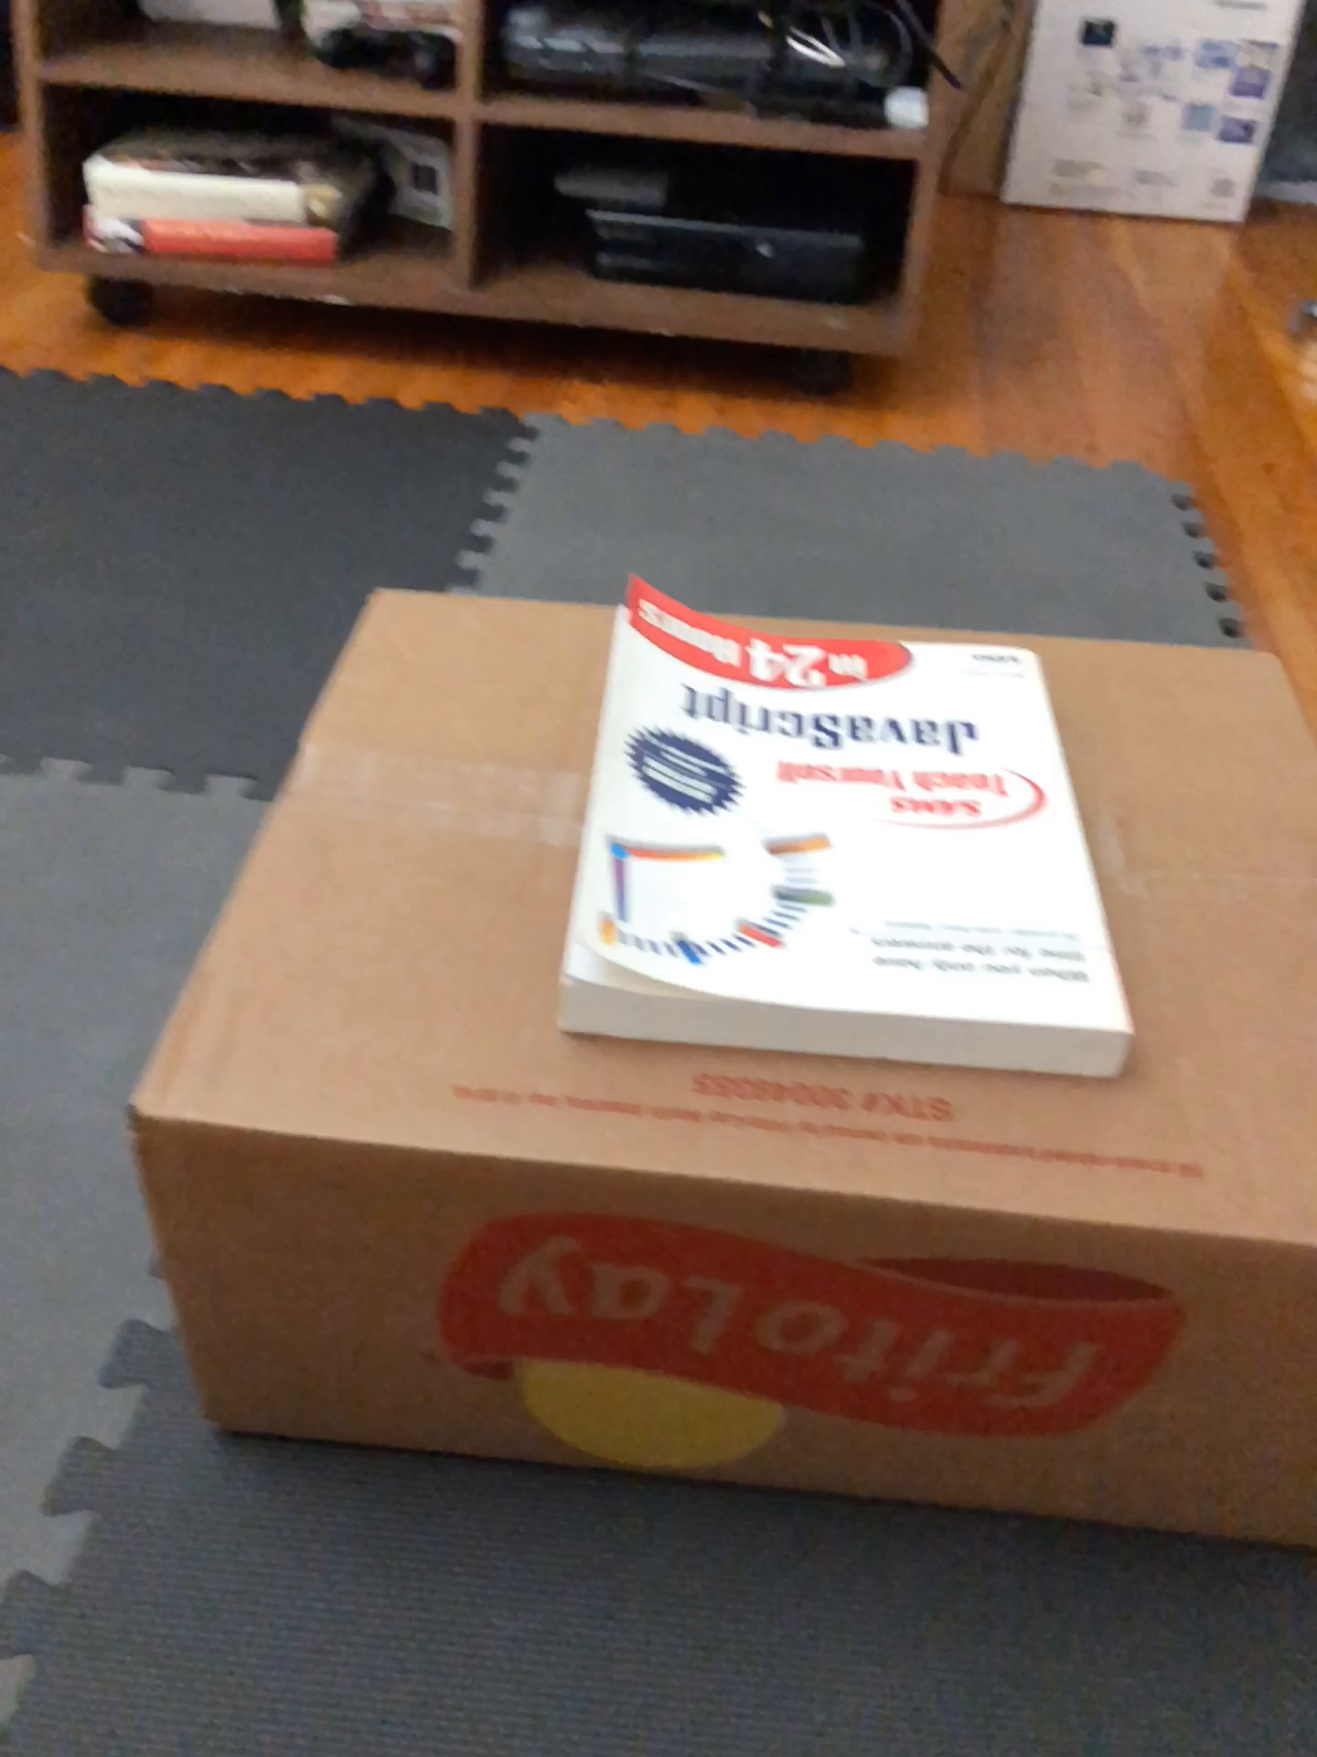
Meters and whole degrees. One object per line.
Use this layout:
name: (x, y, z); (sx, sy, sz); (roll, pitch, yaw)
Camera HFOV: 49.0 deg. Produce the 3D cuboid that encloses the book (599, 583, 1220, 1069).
book: (0.087, -0.034, 0.566); (0.200, 0.030, 0.242); (4, 42, 1)
